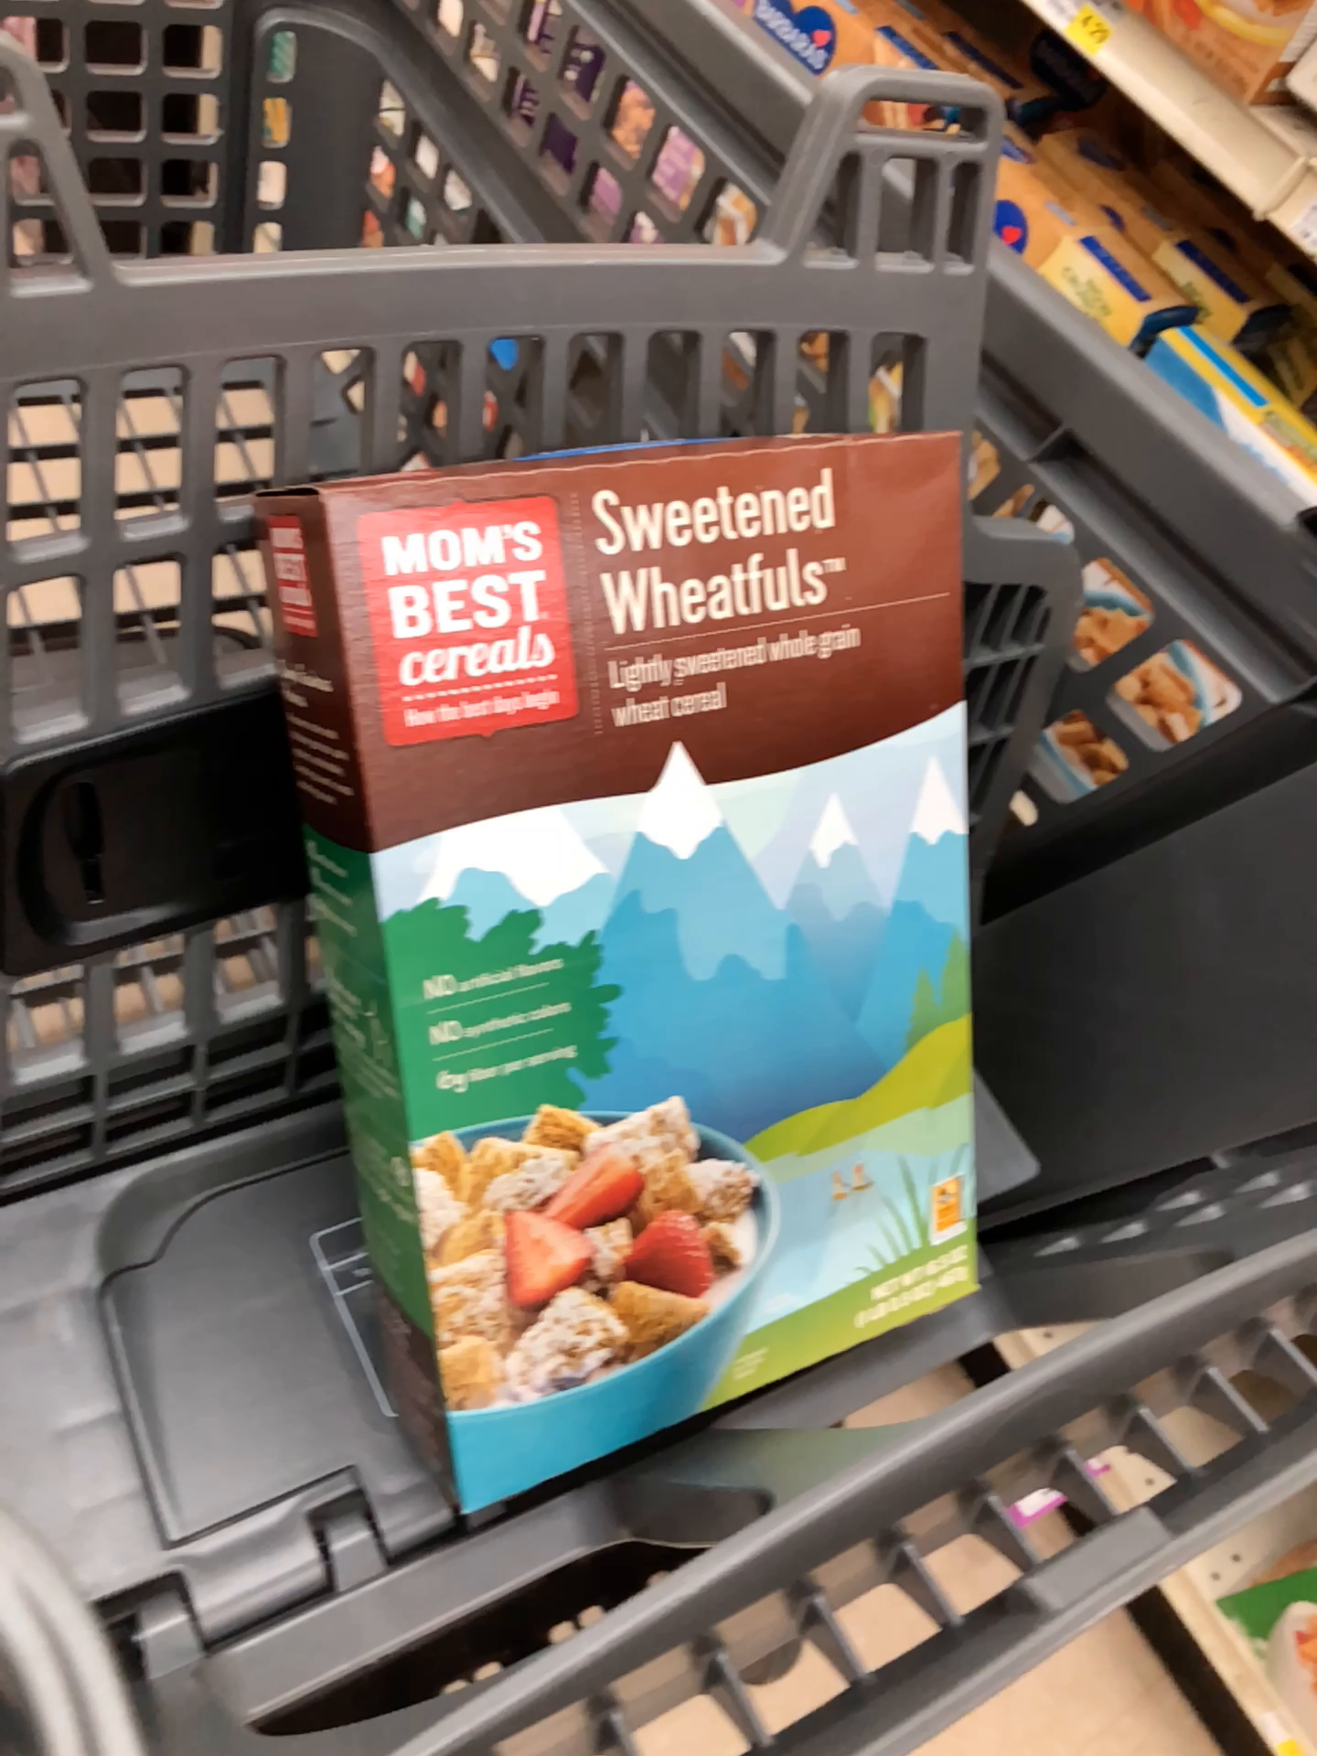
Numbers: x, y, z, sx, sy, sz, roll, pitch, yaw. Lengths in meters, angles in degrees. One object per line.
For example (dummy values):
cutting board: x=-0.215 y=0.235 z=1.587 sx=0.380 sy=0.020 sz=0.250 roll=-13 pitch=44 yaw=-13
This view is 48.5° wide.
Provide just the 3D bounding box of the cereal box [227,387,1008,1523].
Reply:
cereal box: x=0.002 y=0.011 z=0.443 sx=0.200 sy=0.290 sz=0.080 roll=-13 pitch=19 yaw=-27
